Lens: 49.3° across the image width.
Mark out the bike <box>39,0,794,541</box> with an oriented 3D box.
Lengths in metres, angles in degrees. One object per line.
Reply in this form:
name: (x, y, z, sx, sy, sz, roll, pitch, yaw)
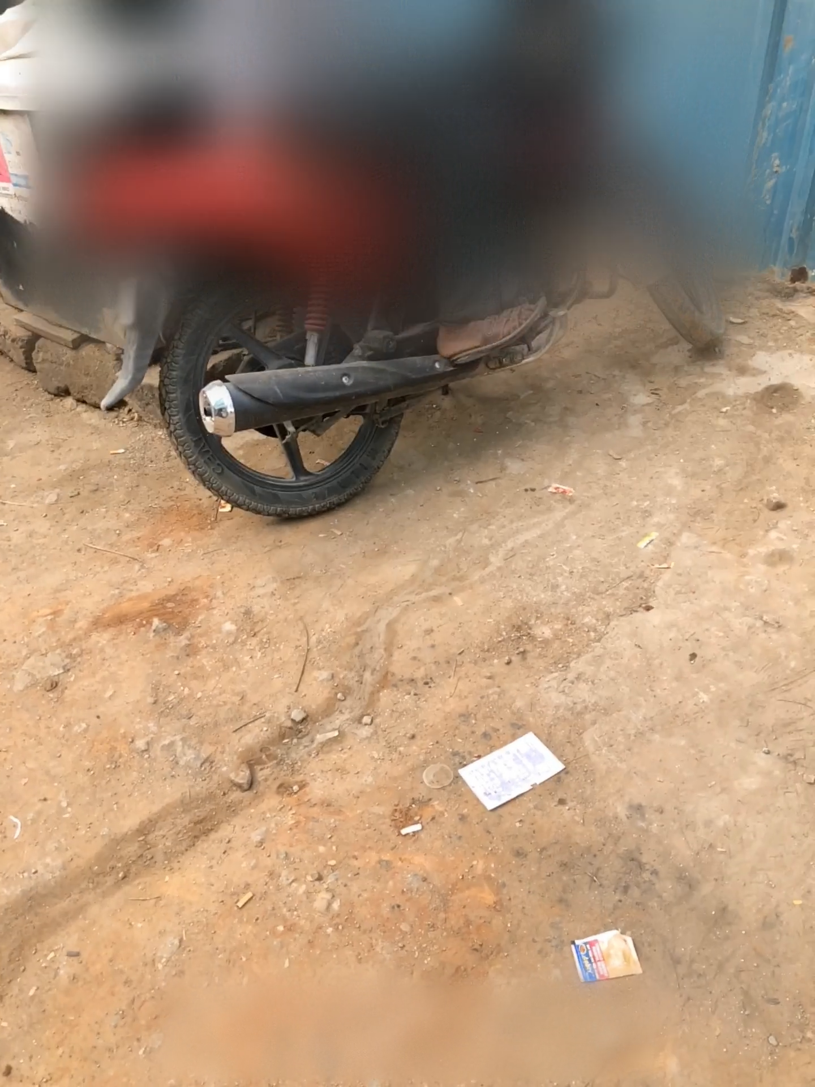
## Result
bike: (0.061, -1.045, 2.292, 1.635, 1.129, 0.736, -29, 42, -25)
